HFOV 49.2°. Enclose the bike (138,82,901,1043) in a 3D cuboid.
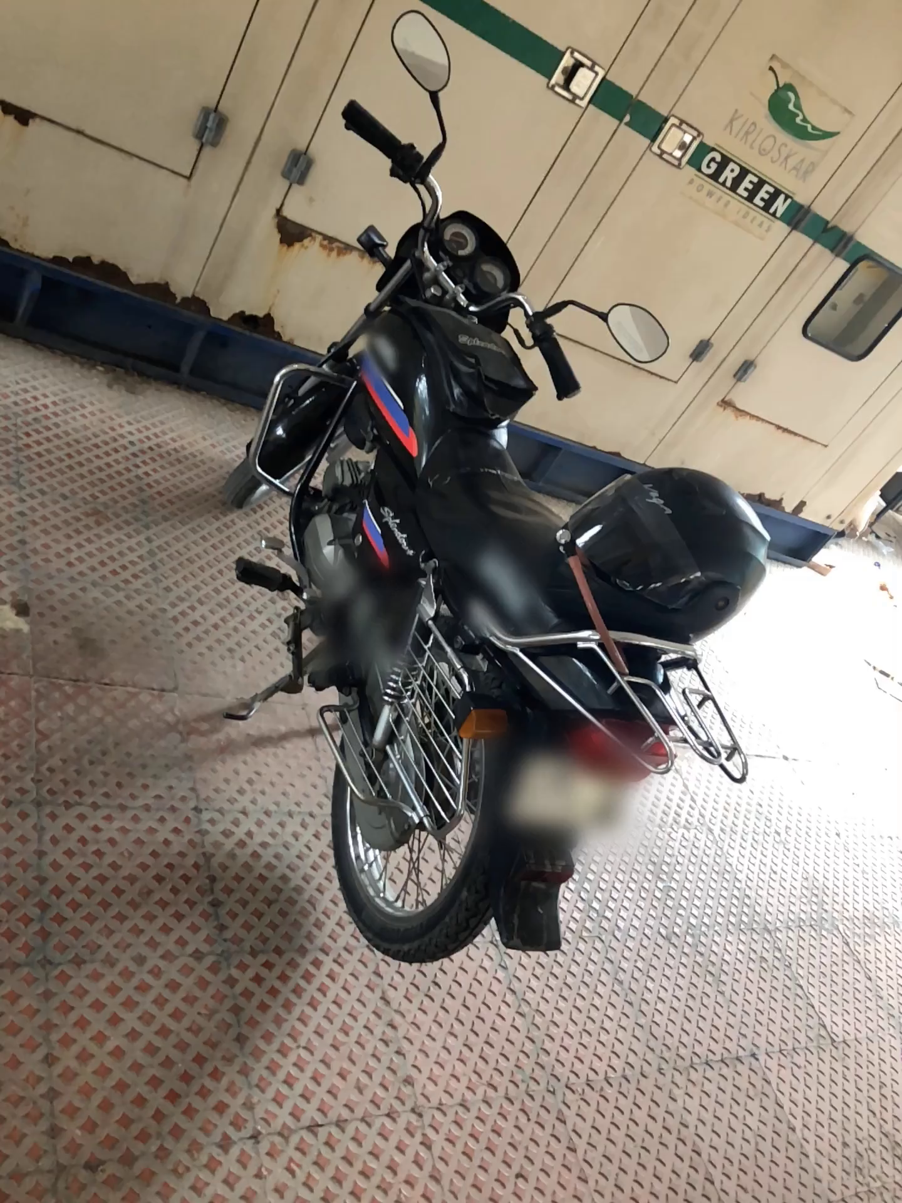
[{"bbox_3d":[-0.097,-0.204,2.115,0.736,1.087,1.867,18,32,-28],"label":"bike"}]
